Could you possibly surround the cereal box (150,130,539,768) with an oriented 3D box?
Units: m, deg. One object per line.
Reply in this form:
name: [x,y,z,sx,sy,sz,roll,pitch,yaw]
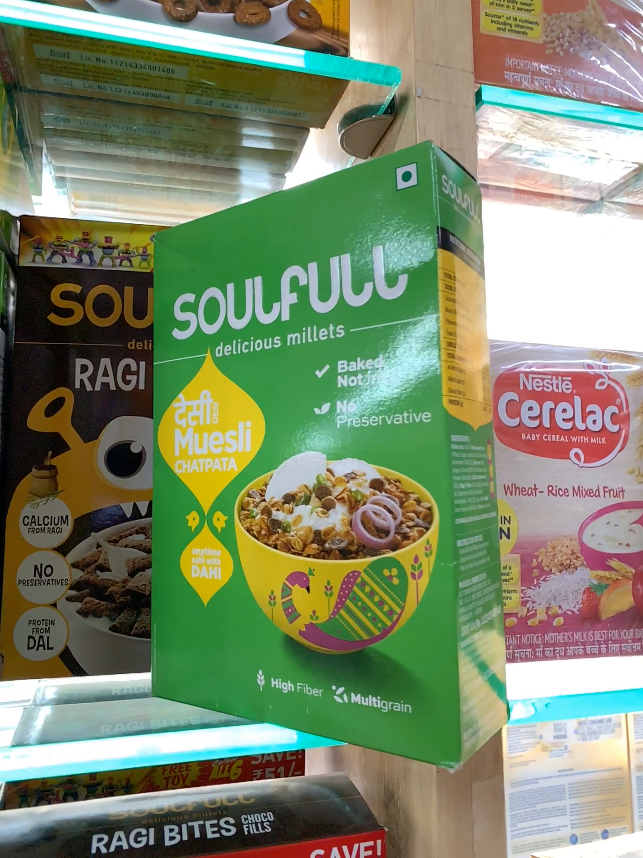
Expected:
cereal box: [0.002,0.008,0.299,0.160,0.221,0.060,-5,-8,34]
